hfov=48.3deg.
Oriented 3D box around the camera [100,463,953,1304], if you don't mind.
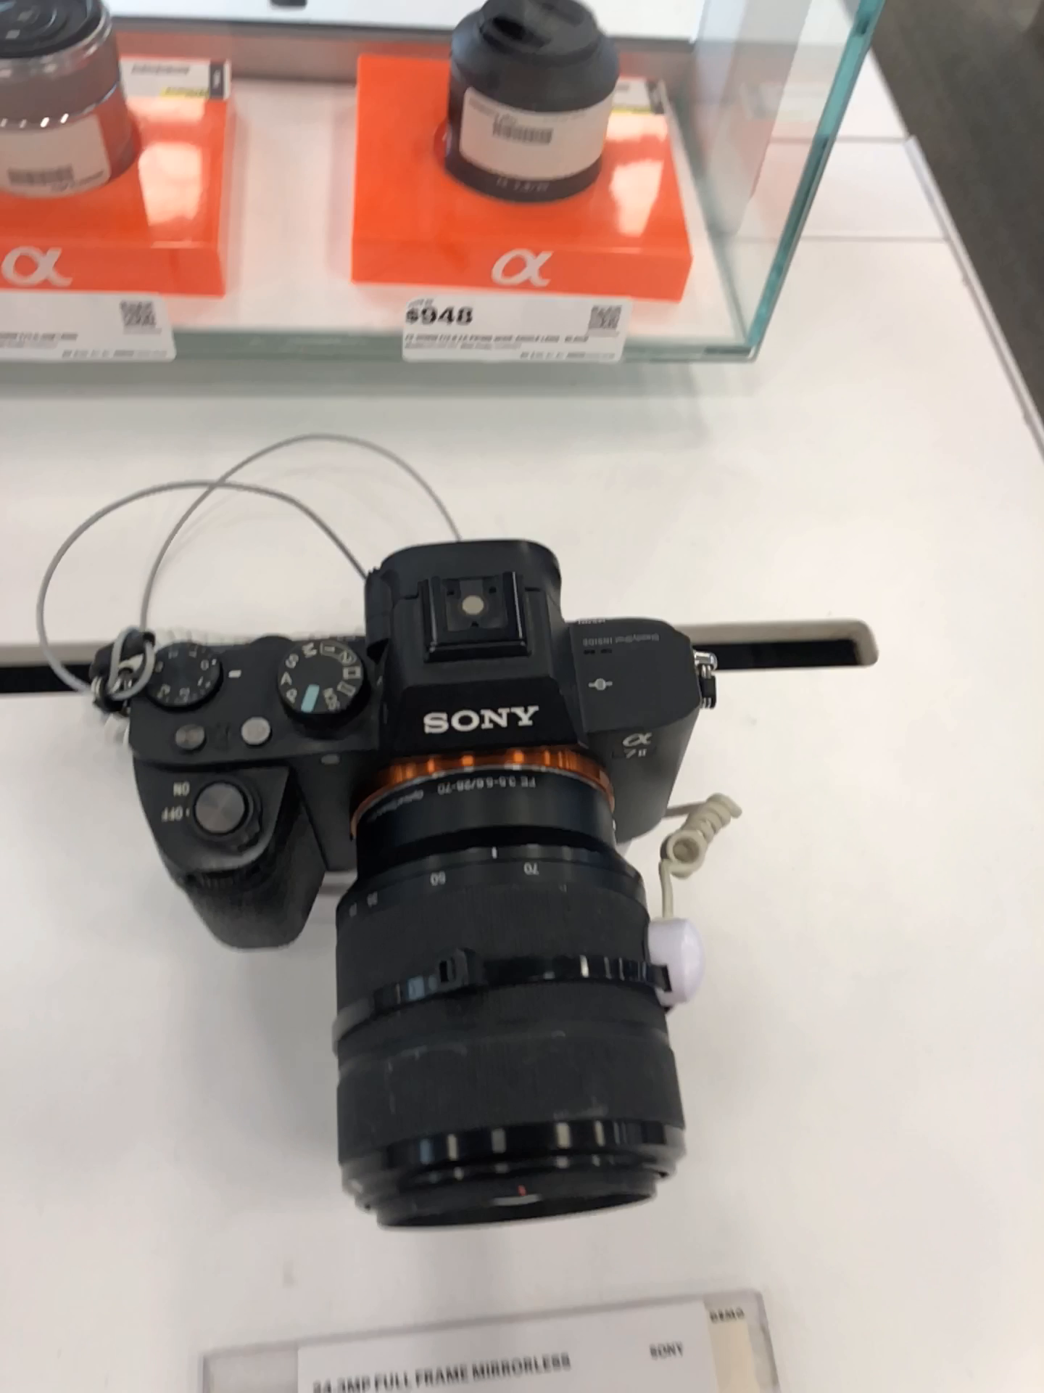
[{"bbox_3d":[-0.012,0.040,0.268,0.140,0.100,0.150,-5,59,-10],"label":"camera"}]
